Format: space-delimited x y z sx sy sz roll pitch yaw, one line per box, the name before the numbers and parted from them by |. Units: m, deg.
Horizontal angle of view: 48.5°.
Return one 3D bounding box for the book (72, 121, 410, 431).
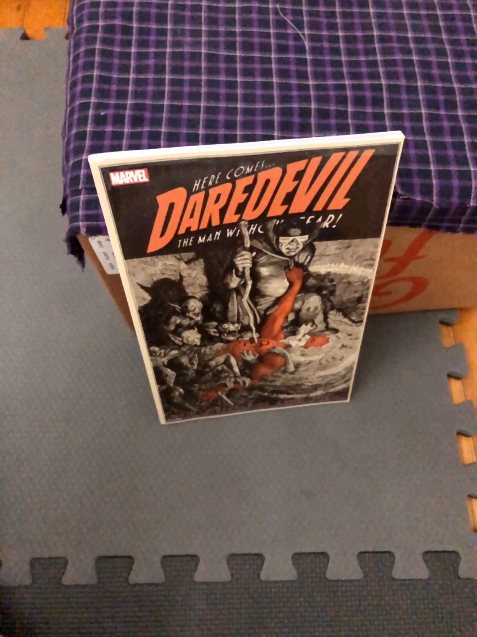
book | 0.006 -0.006 0.340 0.160 0.229 0.020 -7 48 -3
